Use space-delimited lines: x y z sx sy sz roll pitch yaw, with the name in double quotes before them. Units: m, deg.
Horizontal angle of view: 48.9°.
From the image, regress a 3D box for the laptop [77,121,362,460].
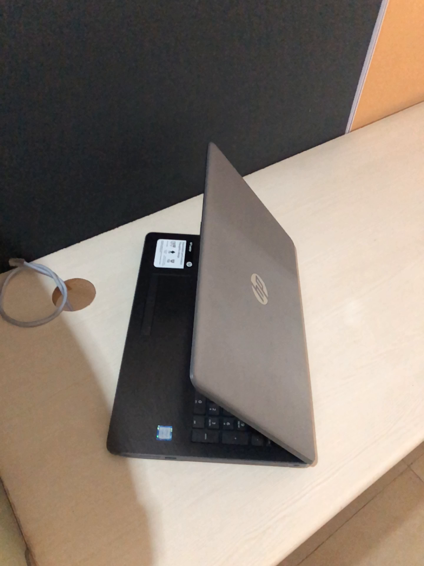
"laptop" 0.011 -0.001 0.594 0.246 0.204 0.363 4 51 -2
